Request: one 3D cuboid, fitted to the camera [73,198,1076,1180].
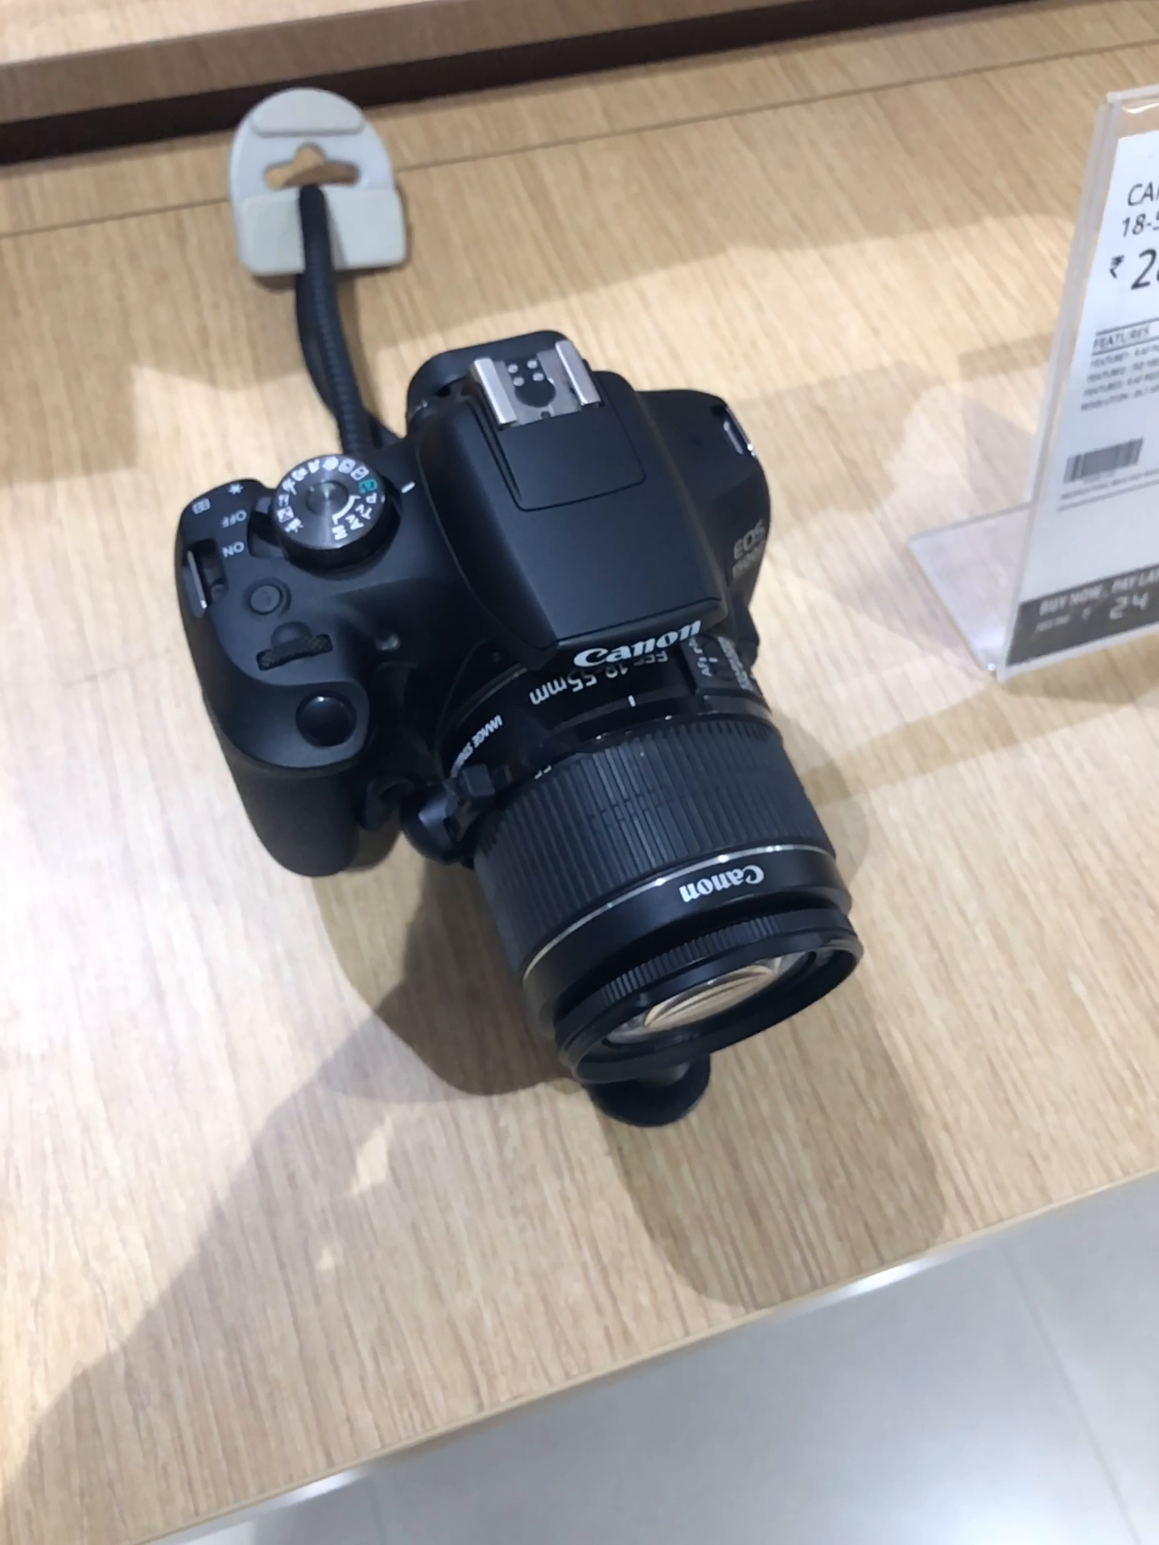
[{"bbox_3d":[-0.010,-0.018,0.255,0.130,0.090,0.140,-15,63,-11],"label":"camera"}]
